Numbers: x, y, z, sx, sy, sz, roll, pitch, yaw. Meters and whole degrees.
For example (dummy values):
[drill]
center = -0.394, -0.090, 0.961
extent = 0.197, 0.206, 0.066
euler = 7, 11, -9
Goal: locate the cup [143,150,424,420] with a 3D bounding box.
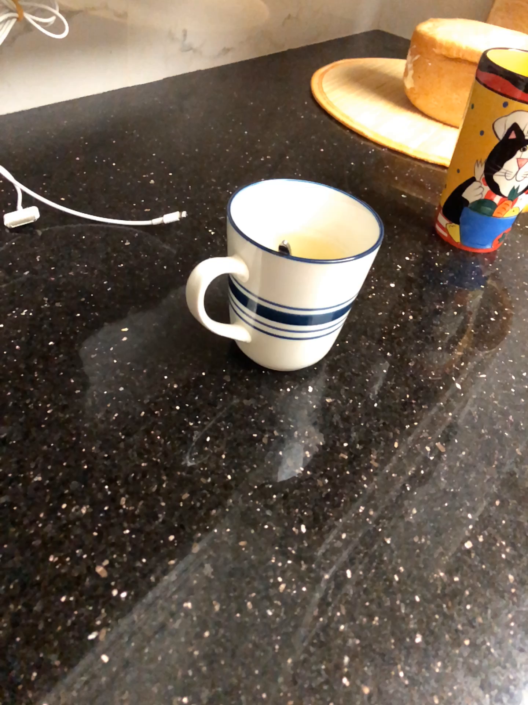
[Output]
[cup]
center = 0.004, -0.044, 0.339
extent = 0.120, 0.099, 0.090
euler = -18, 50, -28
